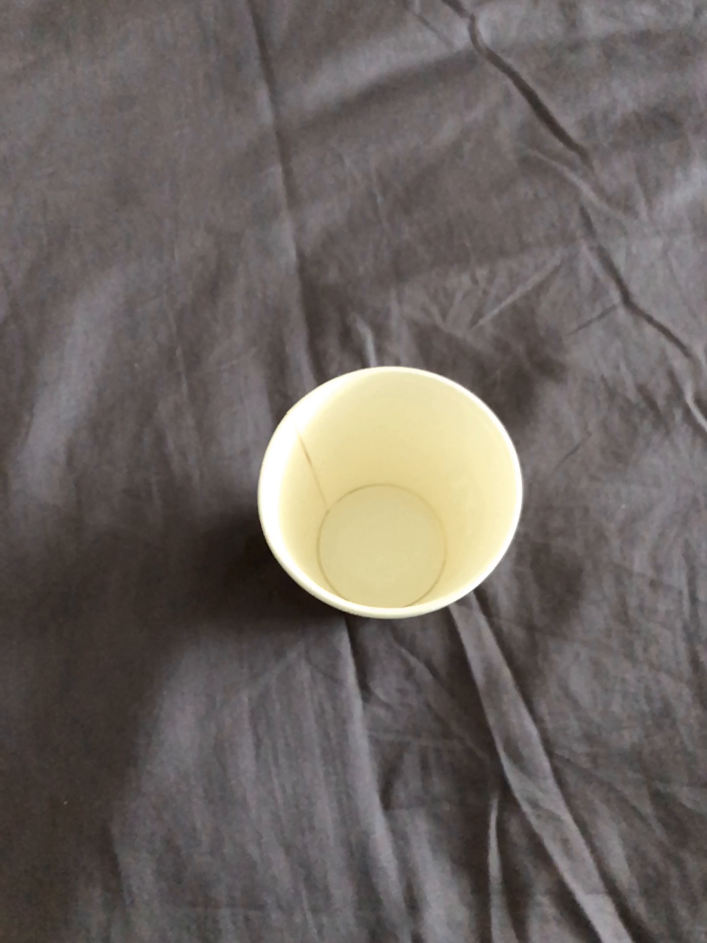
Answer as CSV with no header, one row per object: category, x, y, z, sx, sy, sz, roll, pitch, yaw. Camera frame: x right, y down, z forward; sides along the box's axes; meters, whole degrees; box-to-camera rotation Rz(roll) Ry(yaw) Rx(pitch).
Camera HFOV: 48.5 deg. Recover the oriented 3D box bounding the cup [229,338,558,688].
cup,0.010,0.023,0.305,0.098,0.101,0.107,0,73,0
